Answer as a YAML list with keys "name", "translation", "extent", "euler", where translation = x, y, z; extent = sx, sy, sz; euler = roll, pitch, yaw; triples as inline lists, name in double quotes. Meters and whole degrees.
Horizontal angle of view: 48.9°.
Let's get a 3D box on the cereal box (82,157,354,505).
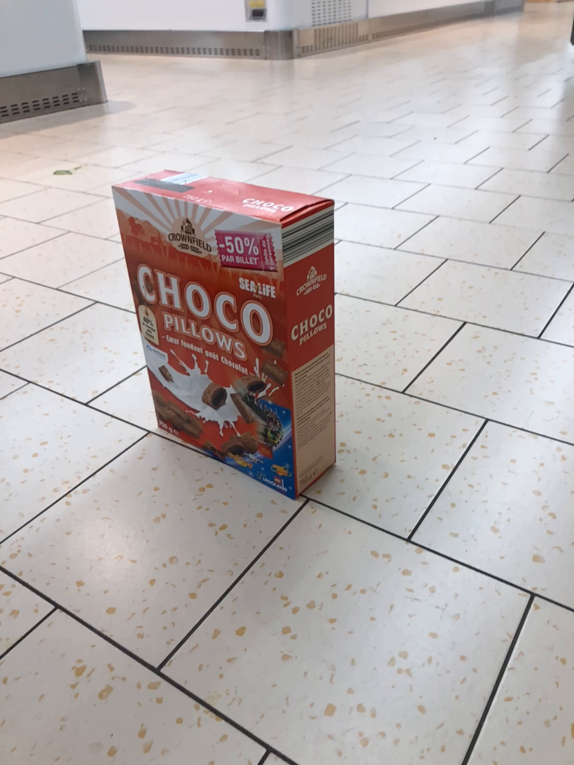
- name: "cereal box"
  translation: [-0.055, -0.052, 0.550]
  extent: [0.210, 0.239, 0.090]
  euler: [22, 39, 35]
